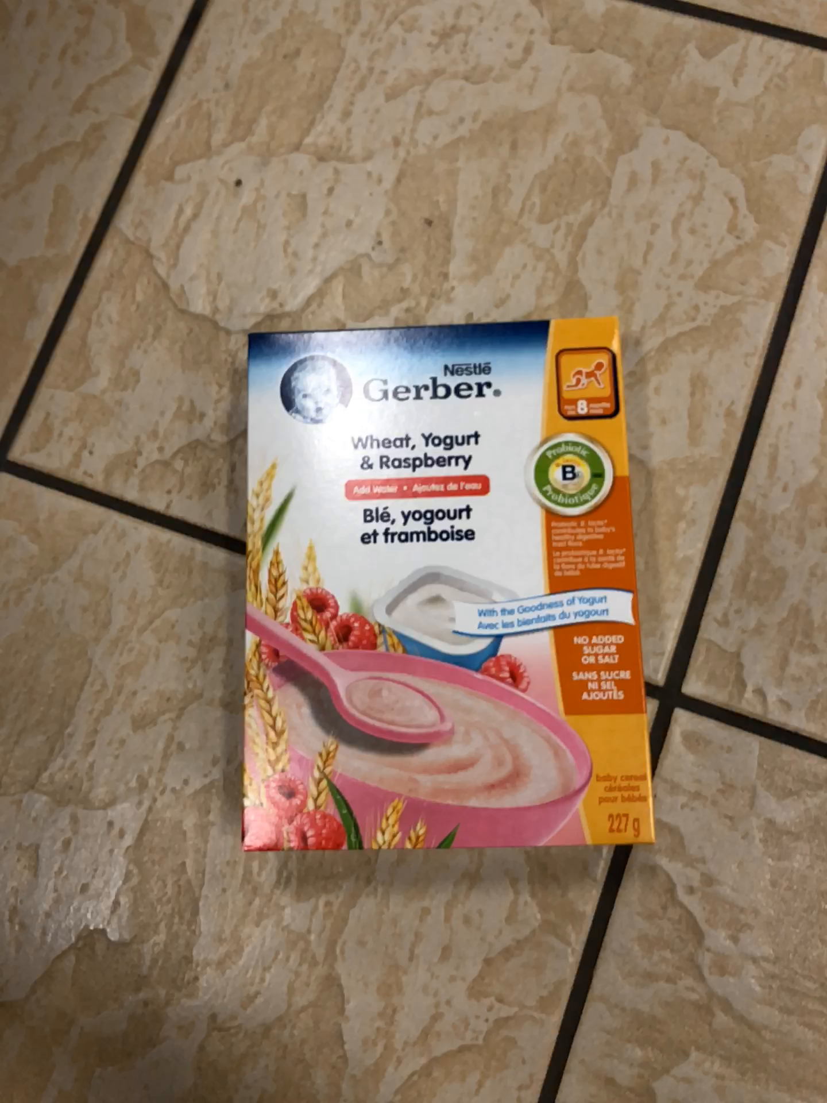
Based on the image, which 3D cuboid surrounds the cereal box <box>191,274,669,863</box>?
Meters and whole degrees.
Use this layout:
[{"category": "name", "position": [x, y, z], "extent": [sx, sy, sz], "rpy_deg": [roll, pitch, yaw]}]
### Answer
[{"category": "cereal box", "position": [0.004, 0.006, 0.355], "extent": [0.160, 0.050, 0.210], "rpy_deg": [-2, 78, 4]}]
